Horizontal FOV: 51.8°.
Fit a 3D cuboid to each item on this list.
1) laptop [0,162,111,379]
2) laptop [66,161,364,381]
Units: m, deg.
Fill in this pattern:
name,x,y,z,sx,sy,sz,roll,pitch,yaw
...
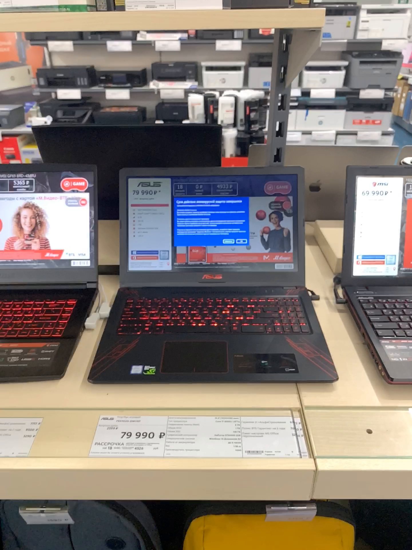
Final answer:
name,x,y,z,sx,sy,sz,roll,pitch,yaw
laptop,-0.382,-0.034,0.724,0.338,0.209,0.355,0,31,0
laptop,0.012,-0.035,0.731,0.365,0.199,0.384,-1,31,1
